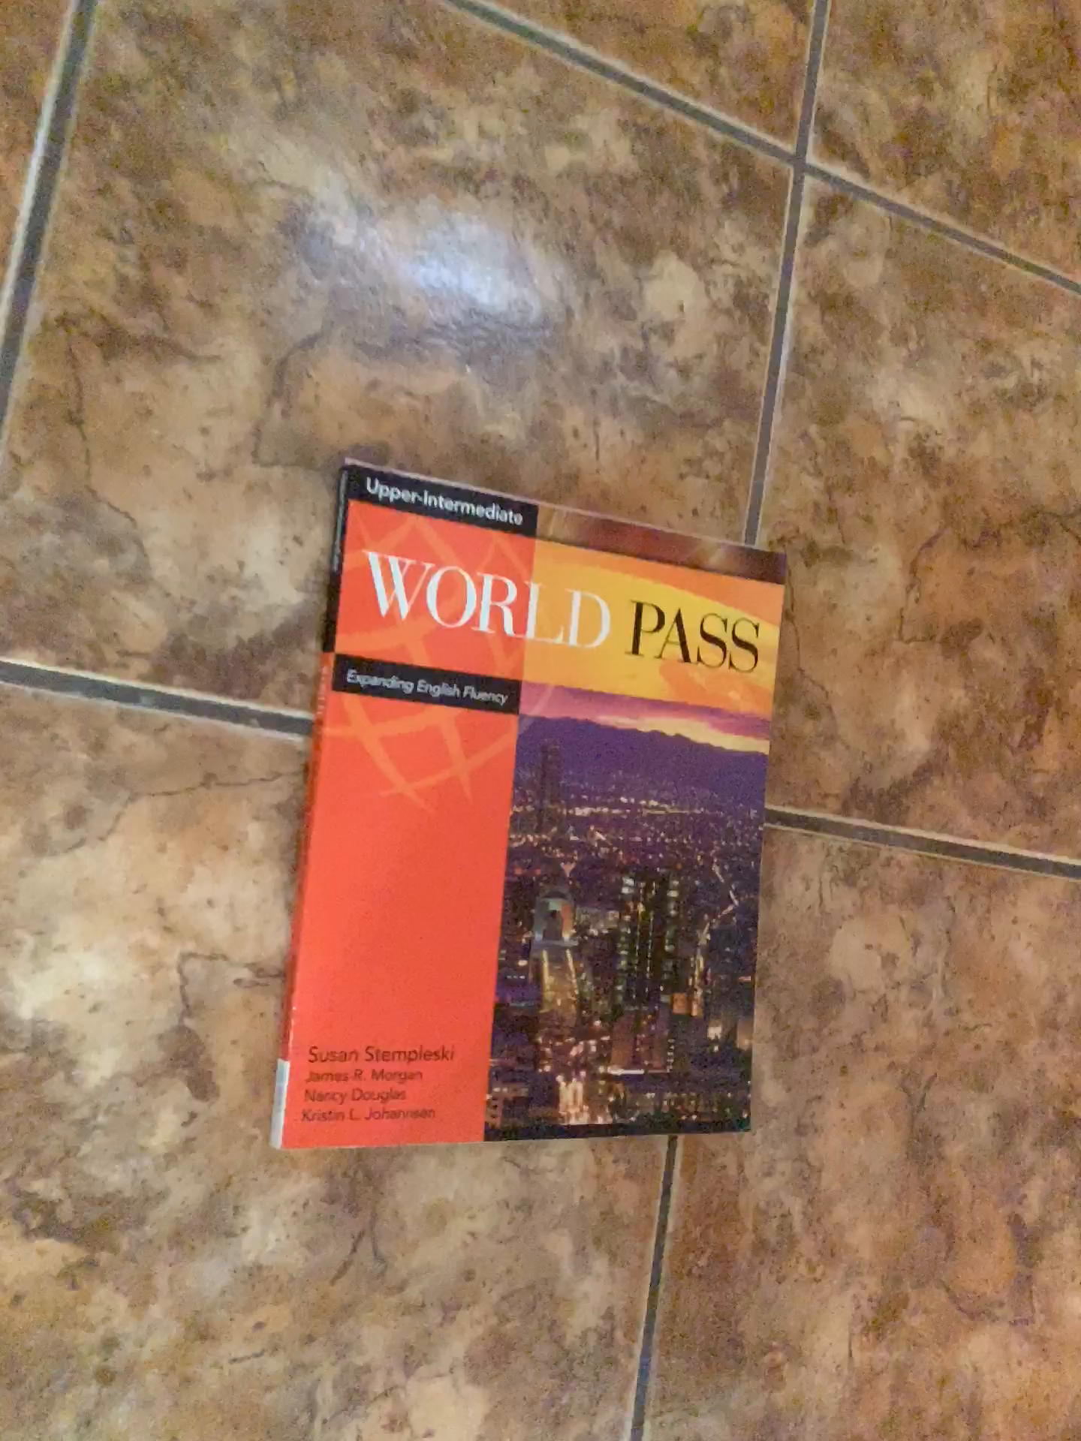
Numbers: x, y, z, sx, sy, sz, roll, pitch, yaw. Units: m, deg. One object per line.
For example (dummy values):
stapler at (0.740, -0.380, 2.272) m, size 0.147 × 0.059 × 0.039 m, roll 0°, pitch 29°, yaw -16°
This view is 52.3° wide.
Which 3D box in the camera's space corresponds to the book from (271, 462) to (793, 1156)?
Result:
book at (0.008, 0.043, 0.480) m, size 0.219 × 0.016 × 0.271 m, roll 7°, pitch 83°, yaw -23°
